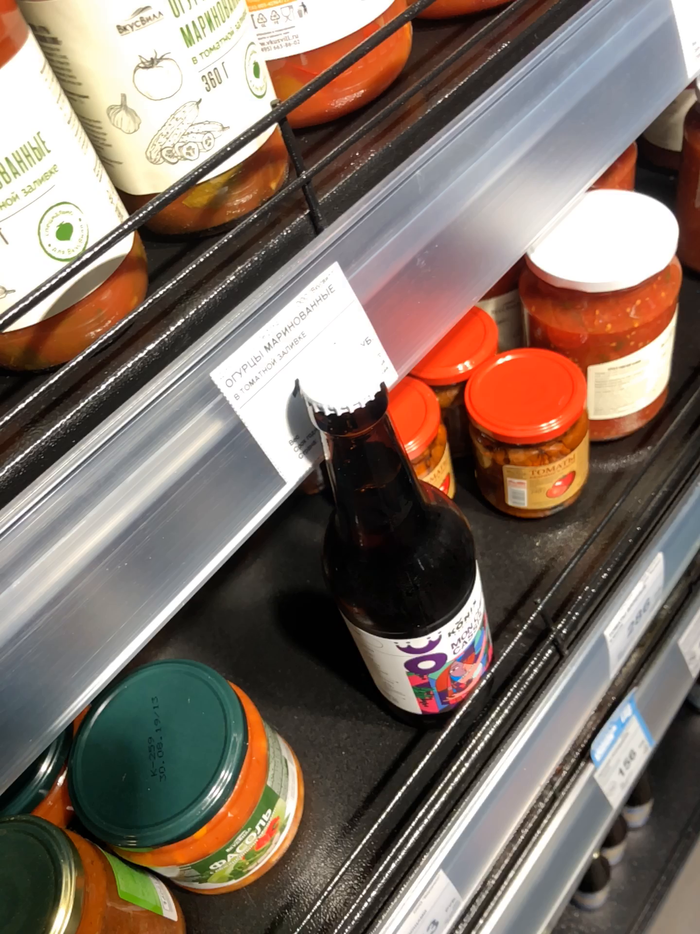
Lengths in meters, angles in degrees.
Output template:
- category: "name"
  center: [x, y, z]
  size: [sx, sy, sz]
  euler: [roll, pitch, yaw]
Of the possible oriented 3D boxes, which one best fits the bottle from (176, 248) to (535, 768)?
- category: "bottle"
  center: [0.021, 0.038, 0.341]
  size: [0.080, 0.239, 0.080]
  euler: [-7, 52, 9]
